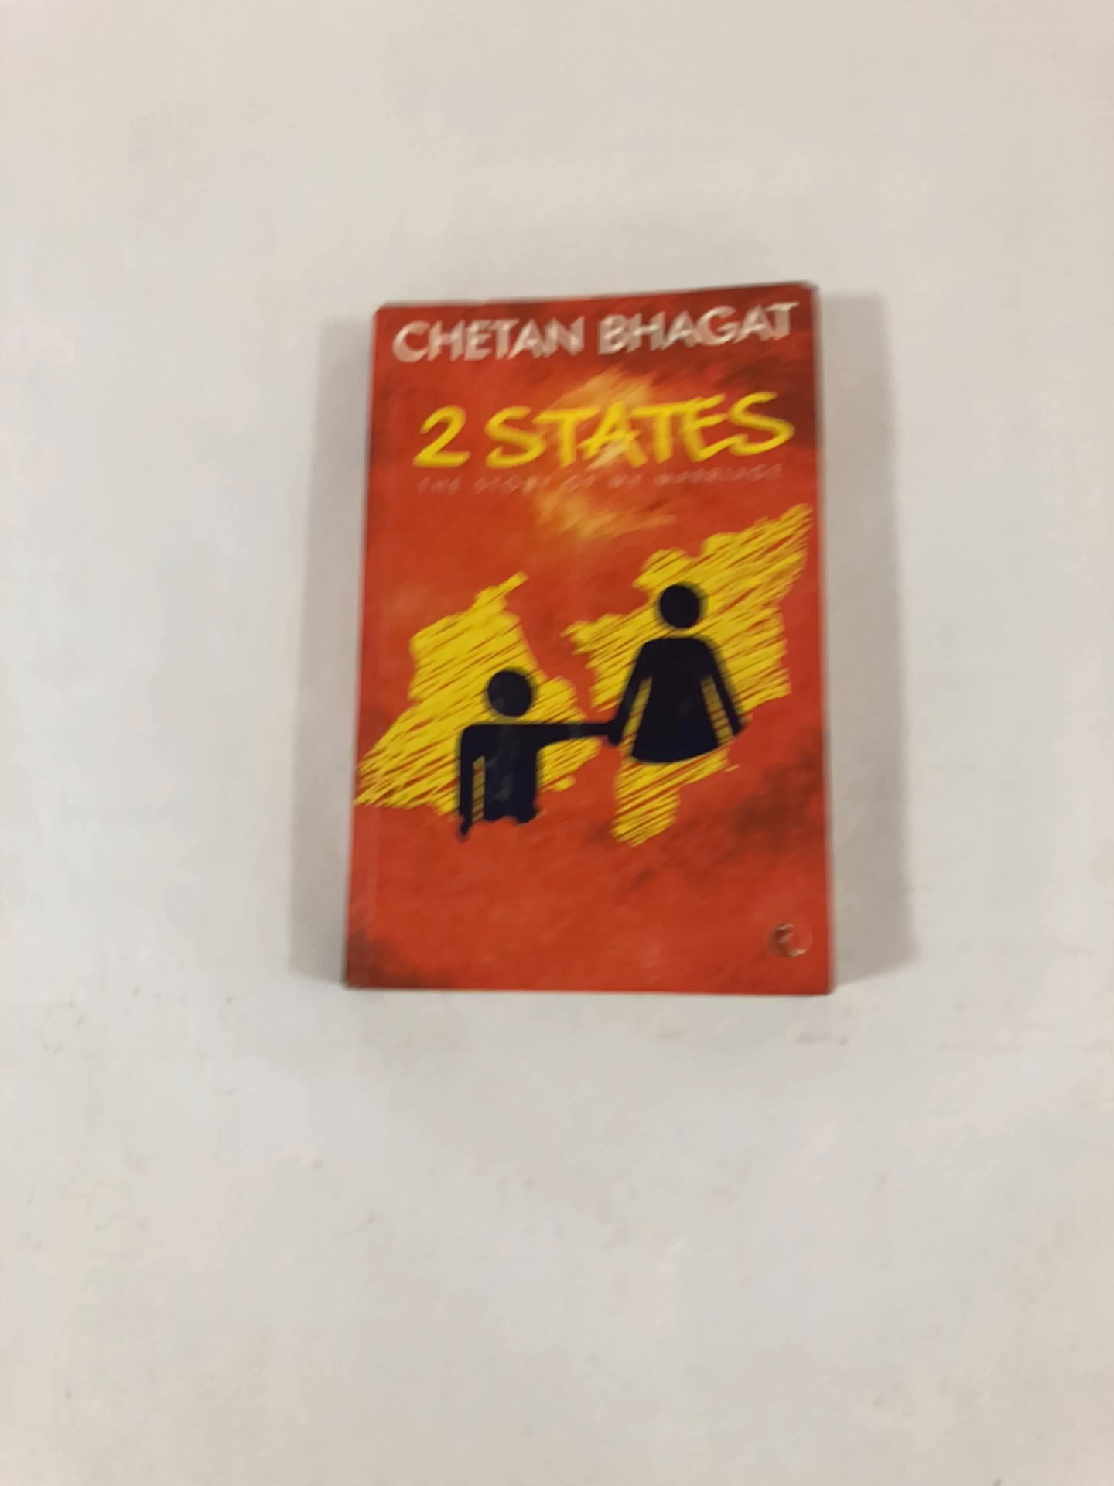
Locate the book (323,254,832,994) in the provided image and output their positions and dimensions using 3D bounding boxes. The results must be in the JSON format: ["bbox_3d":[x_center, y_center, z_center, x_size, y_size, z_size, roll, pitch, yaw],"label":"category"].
[{"bbox_3d":[0.007,-0.031,0.335,0.122,0.040,0.190,0,80,6],"label":"book"}]
